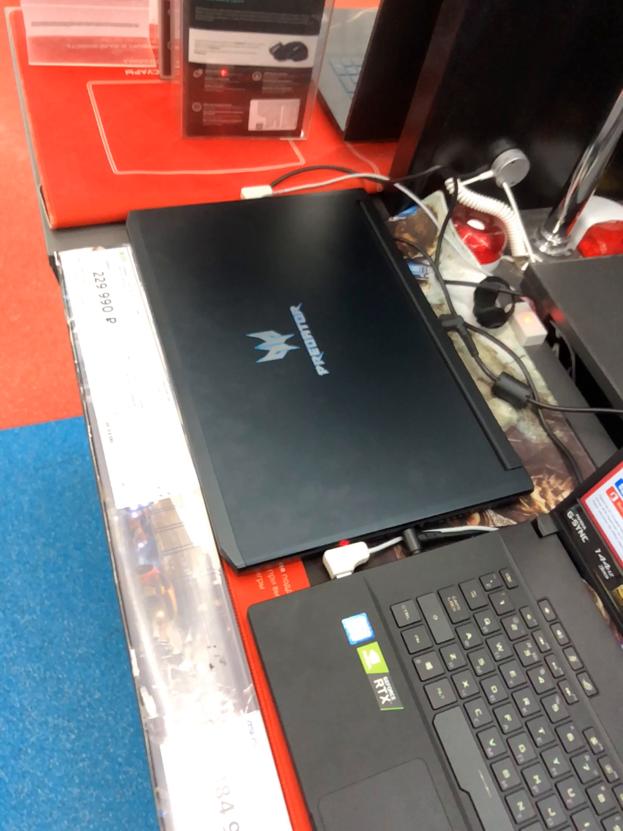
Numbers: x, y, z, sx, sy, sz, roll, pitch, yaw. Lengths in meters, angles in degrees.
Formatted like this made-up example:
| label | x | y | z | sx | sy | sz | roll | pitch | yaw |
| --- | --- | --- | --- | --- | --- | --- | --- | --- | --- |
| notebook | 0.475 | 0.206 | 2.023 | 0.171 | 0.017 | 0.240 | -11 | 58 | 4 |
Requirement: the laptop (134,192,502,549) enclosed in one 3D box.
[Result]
| label | x | y | z | sx | sy | sz | roll | pitch | yaw |
| --- | --- | --- | --- | --- | --- | --- | --- | --- | --- |
| laptop | -0.009 | -0.070 | 0.613 | 0.221 | 0.006 | 0.355 | -12 | 59 | -18 |
